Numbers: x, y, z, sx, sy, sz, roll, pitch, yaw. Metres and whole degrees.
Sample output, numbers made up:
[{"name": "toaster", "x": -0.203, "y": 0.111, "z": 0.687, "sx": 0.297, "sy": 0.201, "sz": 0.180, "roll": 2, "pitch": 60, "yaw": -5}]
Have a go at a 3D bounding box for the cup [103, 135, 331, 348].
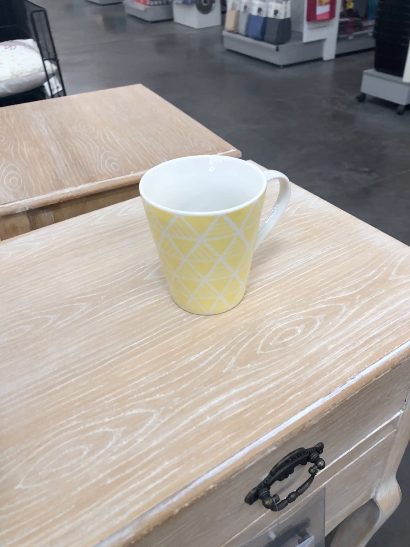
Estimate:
[{"name": "cup", "x": 0.010, "y": -0.033, "z": 0.346, "sx": 0.125, "sy": 0.090, "sz": 0.102, "roll": -26, "pitch": 42, "yaw": -28}]
